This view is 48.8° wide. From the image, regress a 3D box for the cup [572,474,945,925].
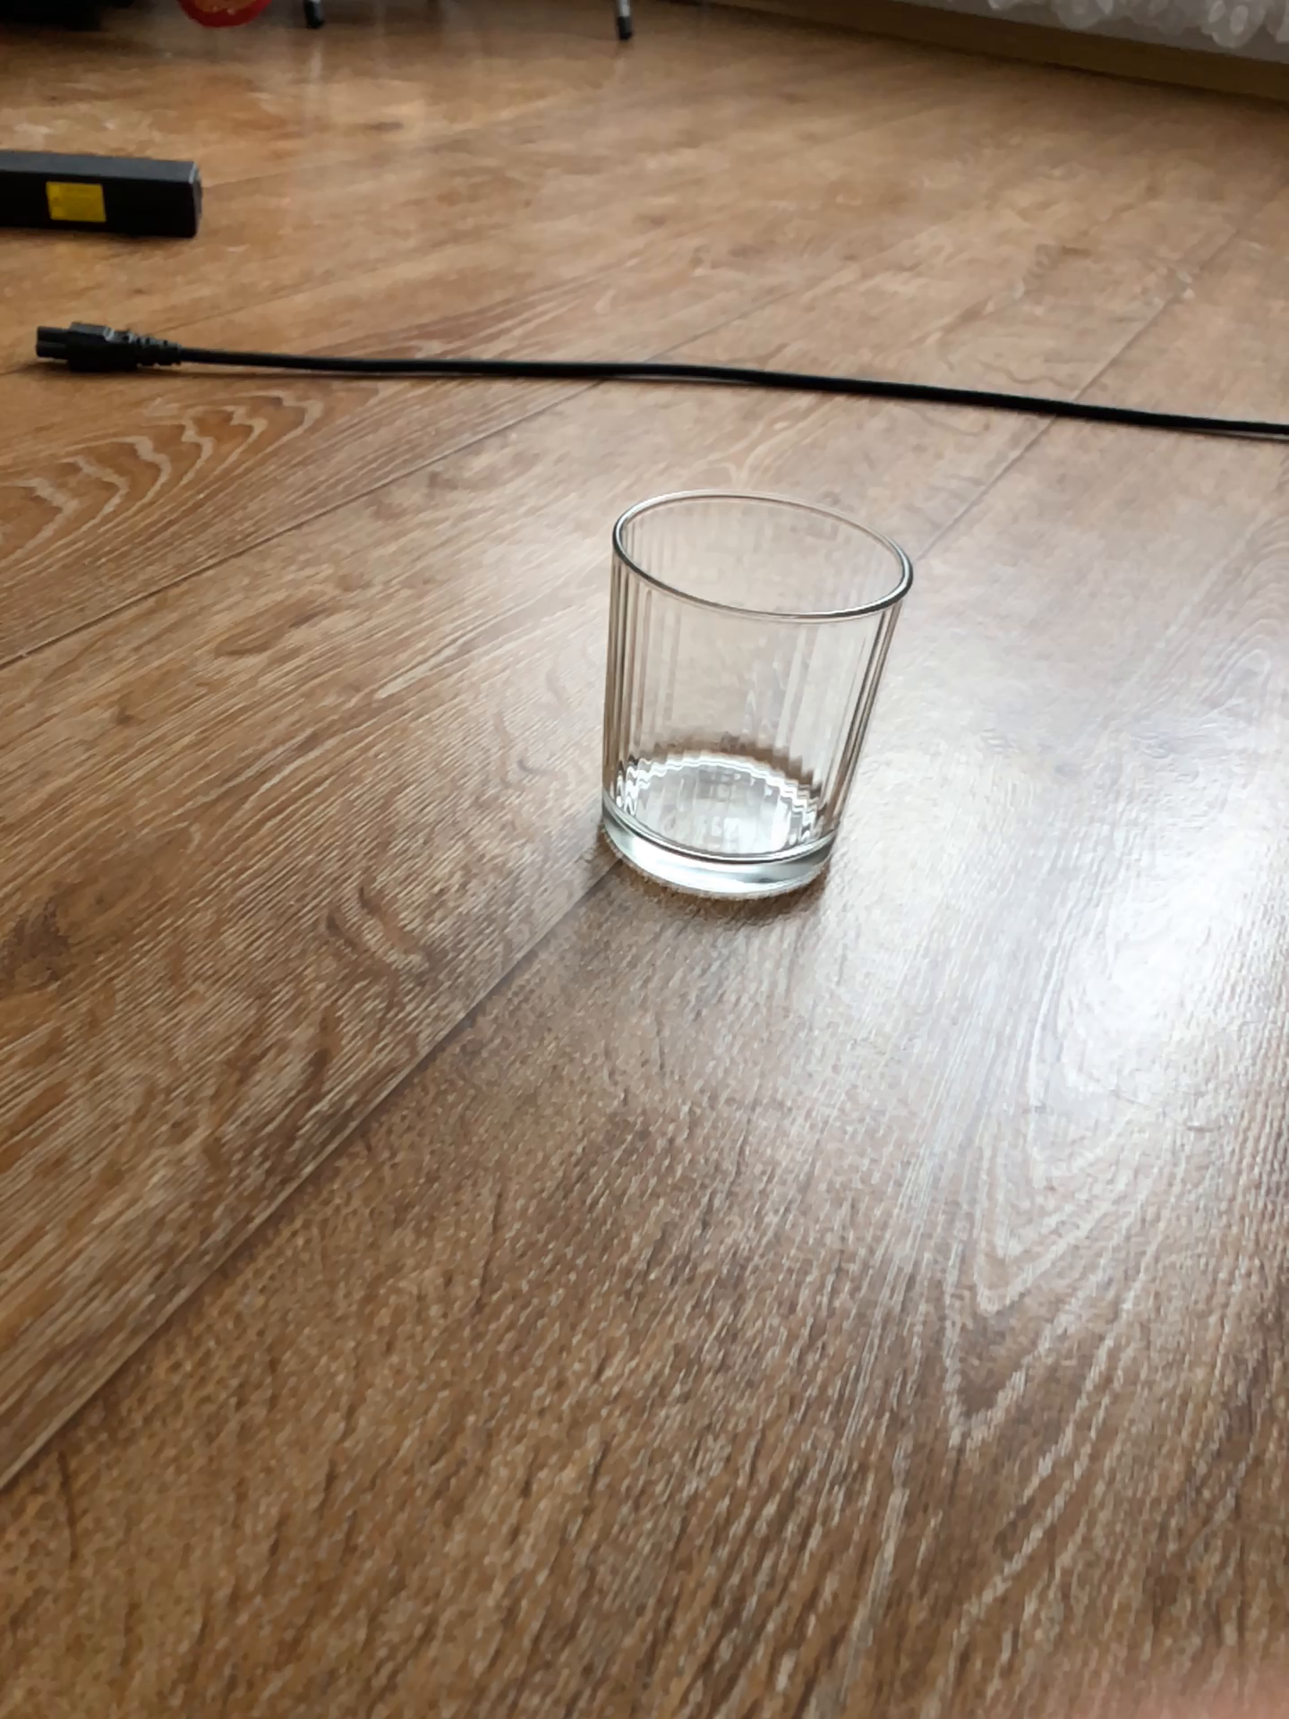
[{"bbox_3d":[0.028,-0.043,0.368,0.078,0.079,0.076,5,35,-3],"label":"cup"}]
